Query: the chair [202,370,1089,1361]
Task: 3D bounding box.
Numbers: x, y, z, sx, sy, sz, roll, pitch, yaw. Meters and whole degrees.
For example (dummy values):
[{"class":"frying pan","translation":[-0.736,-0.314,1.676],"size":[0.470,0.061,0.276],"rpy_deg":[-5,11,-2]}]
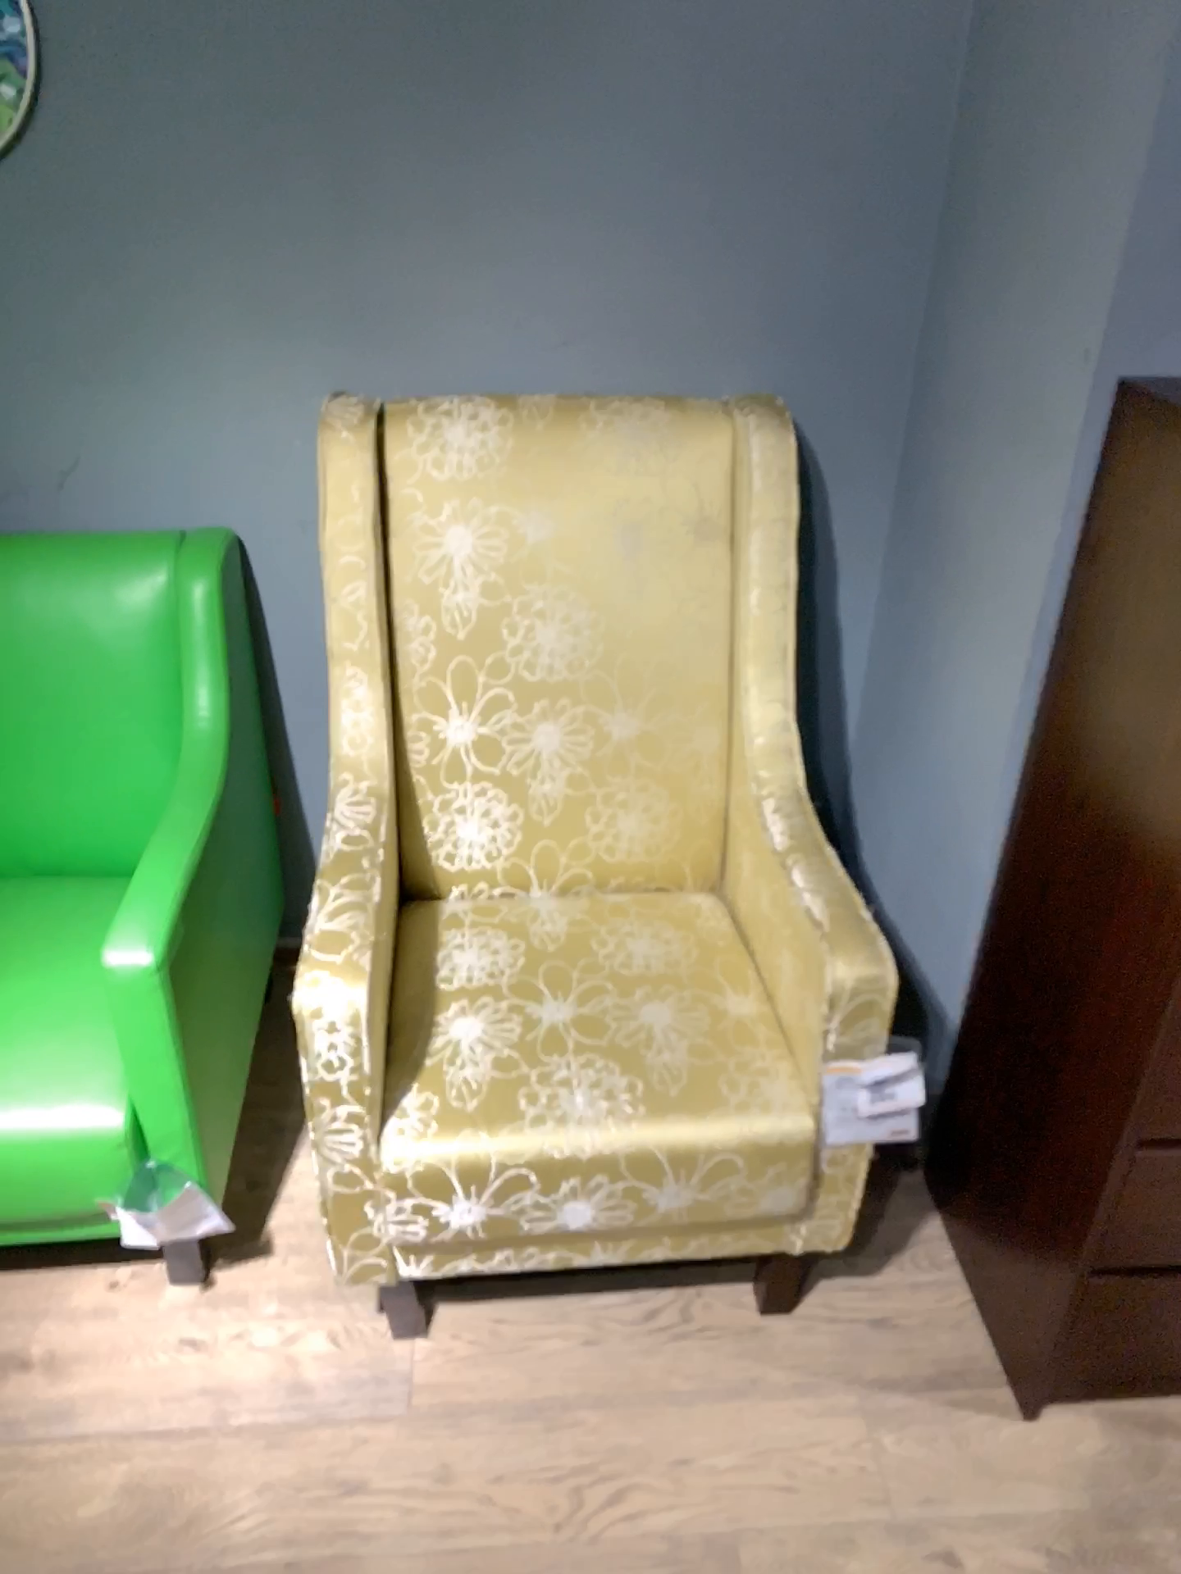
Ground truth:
[{"class":"chair","translation":[0.002,0.038,1.700],"size":[0.780,1.025,0.955],"rpy_deg":[-1,30,-5]}]
